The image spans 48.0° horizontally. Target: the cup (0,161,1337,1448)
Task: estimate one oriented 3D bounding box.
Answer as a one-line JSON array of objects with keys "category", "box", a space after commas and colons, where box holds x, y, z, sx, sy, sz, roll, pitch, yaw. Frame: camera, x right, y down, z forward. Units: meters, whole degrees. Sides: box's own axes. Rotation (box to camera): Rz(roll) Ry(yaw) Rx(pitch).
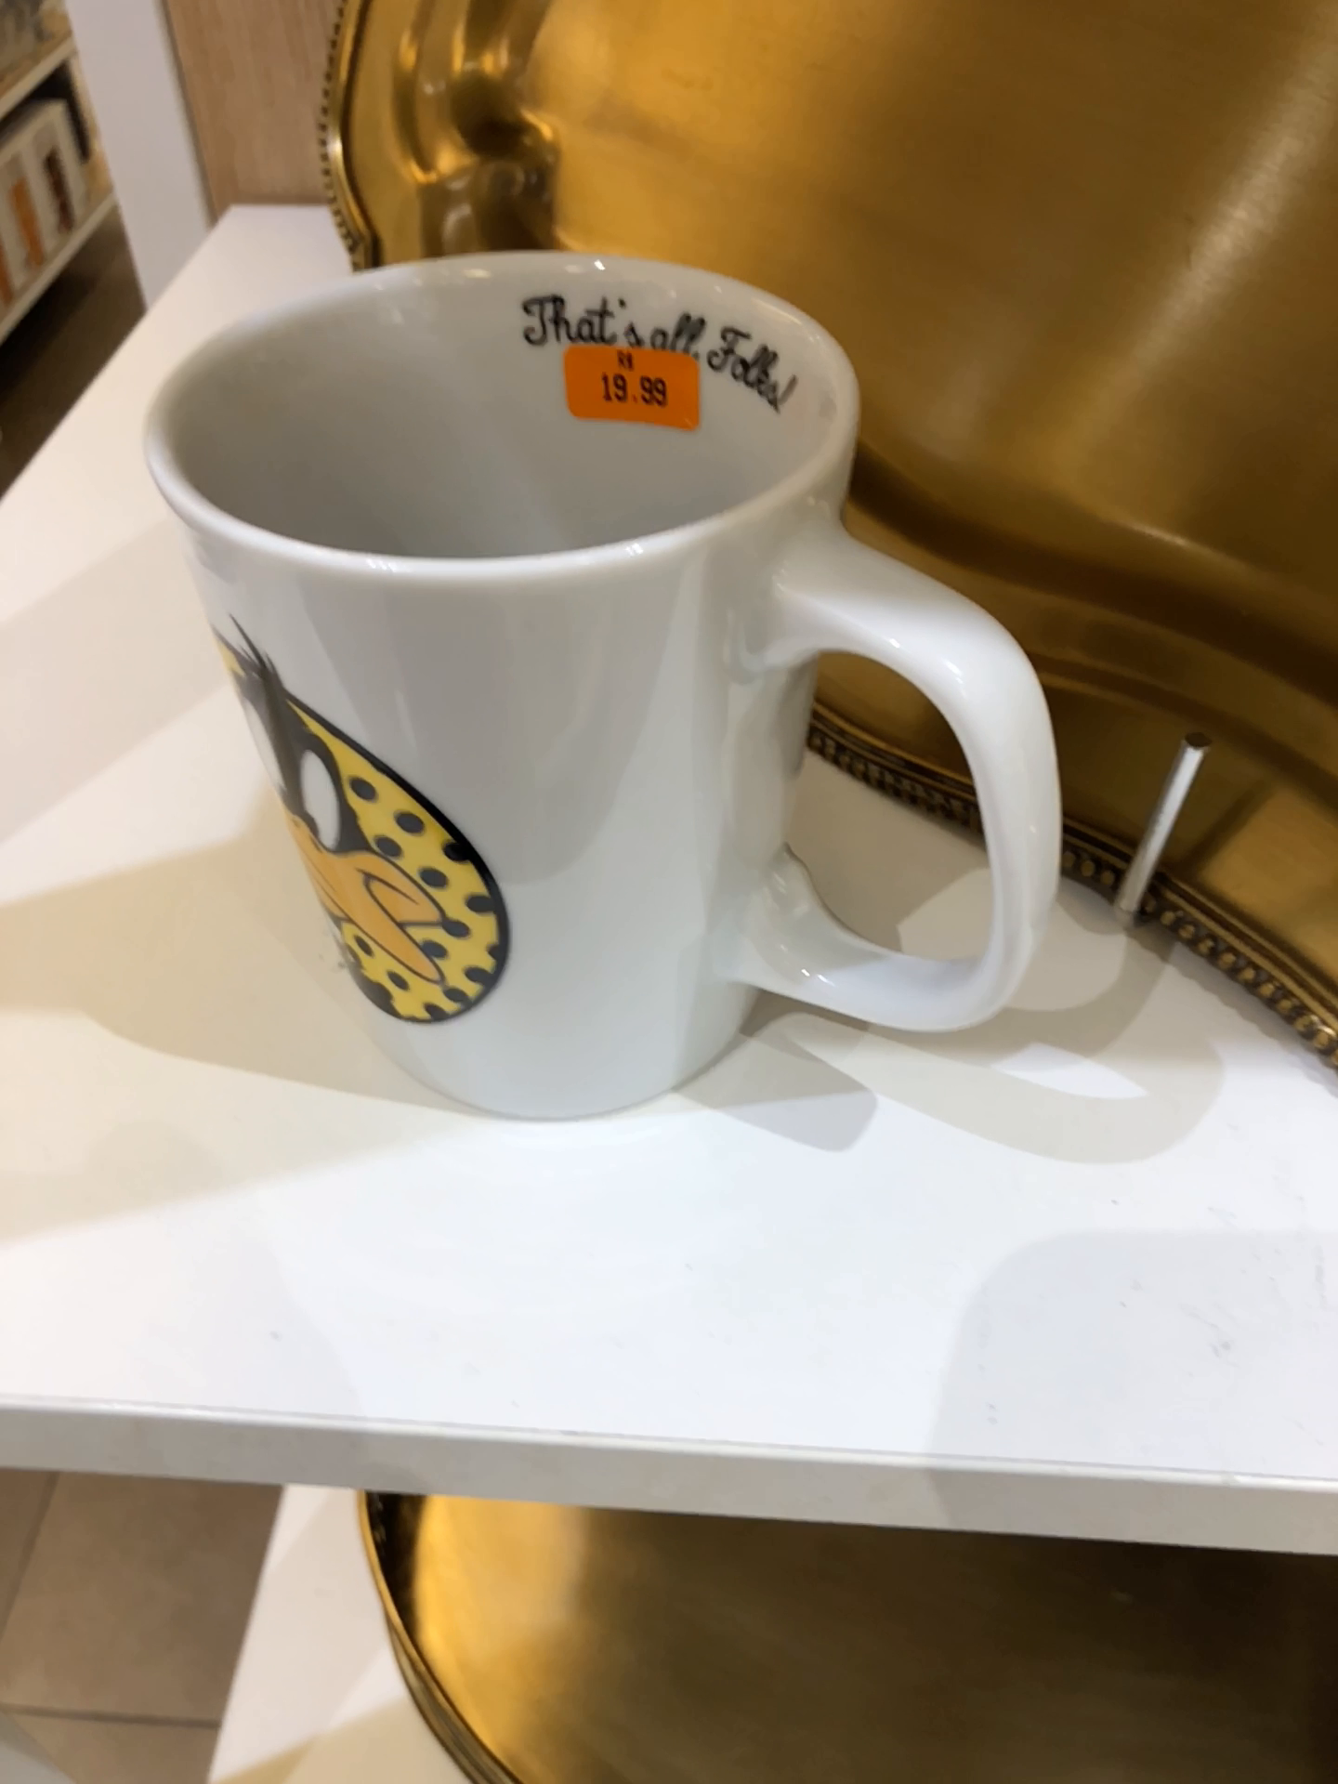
[{"category": "cup", "box": [-0.001, -0.019, 0.186, 0.120, 0.089, 0.090, 23, 50, 23]}]
